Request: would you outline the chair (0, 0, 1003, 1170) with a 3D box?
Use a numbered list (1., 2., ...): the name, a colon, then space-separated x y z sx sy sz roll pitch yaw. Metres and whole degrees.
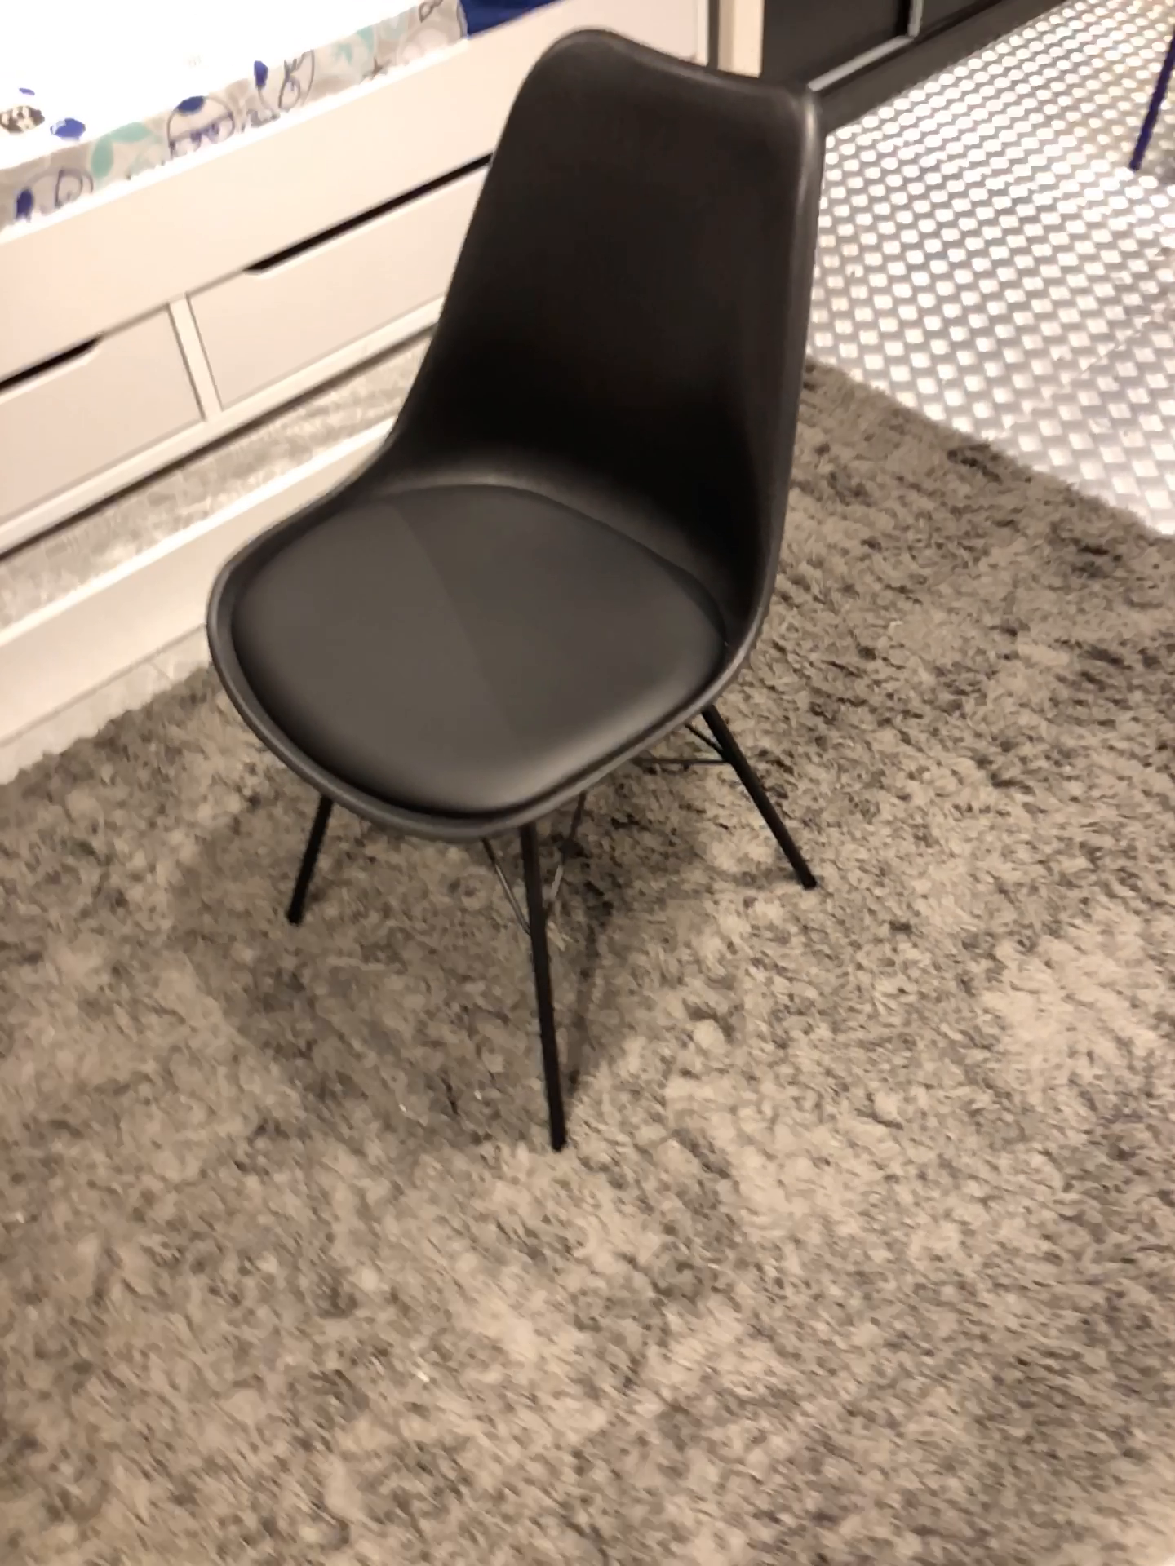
1. chair: -0.063 -0.172 1.201 0.532 0.804 0.522 -38 56 -26
